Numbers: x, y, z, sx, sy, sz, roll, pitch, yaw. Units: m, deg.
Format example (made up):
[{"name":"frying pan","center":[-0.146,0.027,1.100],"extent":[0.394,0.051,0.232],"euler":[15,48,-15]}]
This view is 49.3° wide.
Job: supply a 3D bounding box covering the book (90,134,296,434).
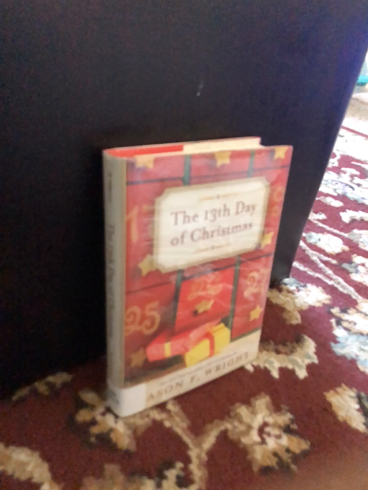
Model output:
[{"name":"book","center":[0.006,0.023,0.293],"extent":[0.138,0.190,0.040],"euler":[-15,30,-36]}]
